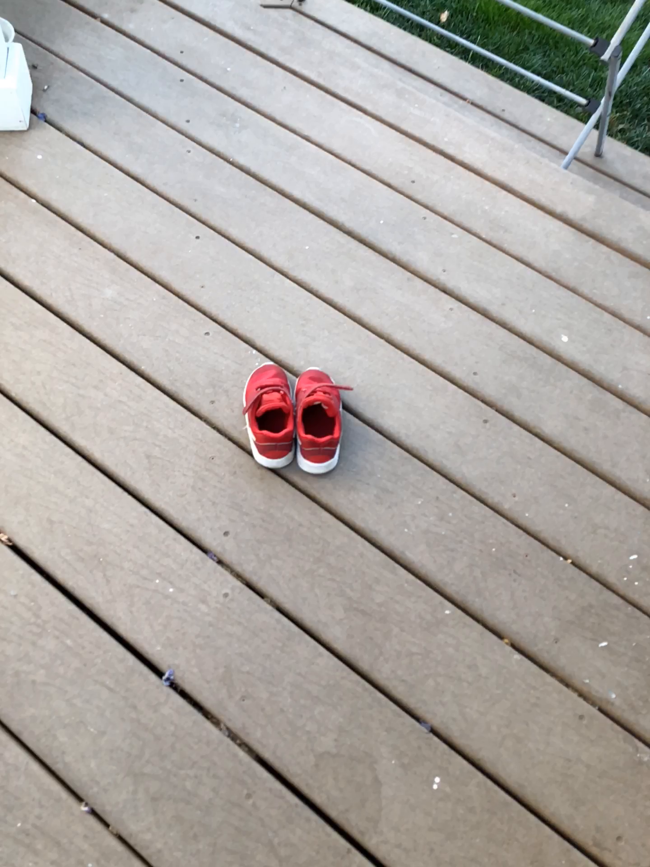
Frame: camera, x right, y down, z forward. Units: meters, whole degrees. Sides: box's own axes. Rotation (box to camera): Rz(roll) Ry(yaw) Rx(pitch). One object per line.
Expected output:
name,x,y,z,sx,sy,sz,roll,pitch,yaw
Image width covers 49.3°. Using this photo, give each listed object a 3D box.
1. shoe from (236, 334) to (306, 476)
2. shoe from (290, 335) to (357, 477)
shoe,-0.076,-0.039,0.954,0.077,0.087,0.168,-3,60,-8
shoe,-0.004,-0.037,0.951,0.077,0.087,0.168,2,59,-5
